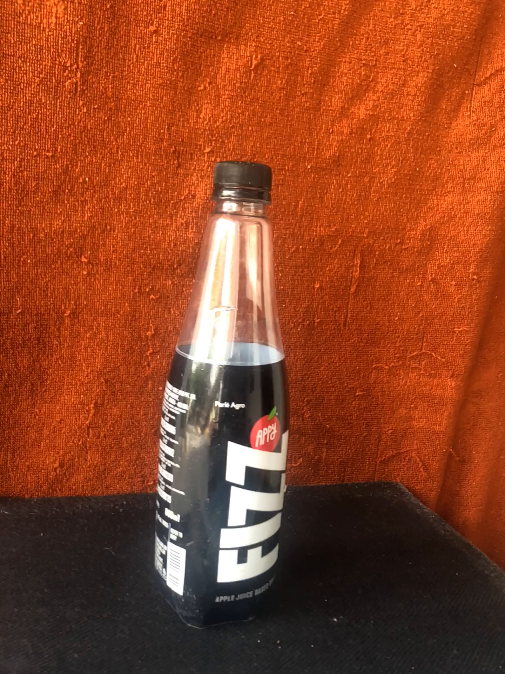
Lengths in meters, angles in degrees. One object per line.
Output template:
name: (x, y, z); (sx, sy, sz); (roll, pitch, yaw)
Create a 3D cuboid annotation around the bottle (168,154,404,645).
bottle: (0.013, 0.027, 0.284); (0.070, 0.219, 0.060); (-2, 14, -40)
